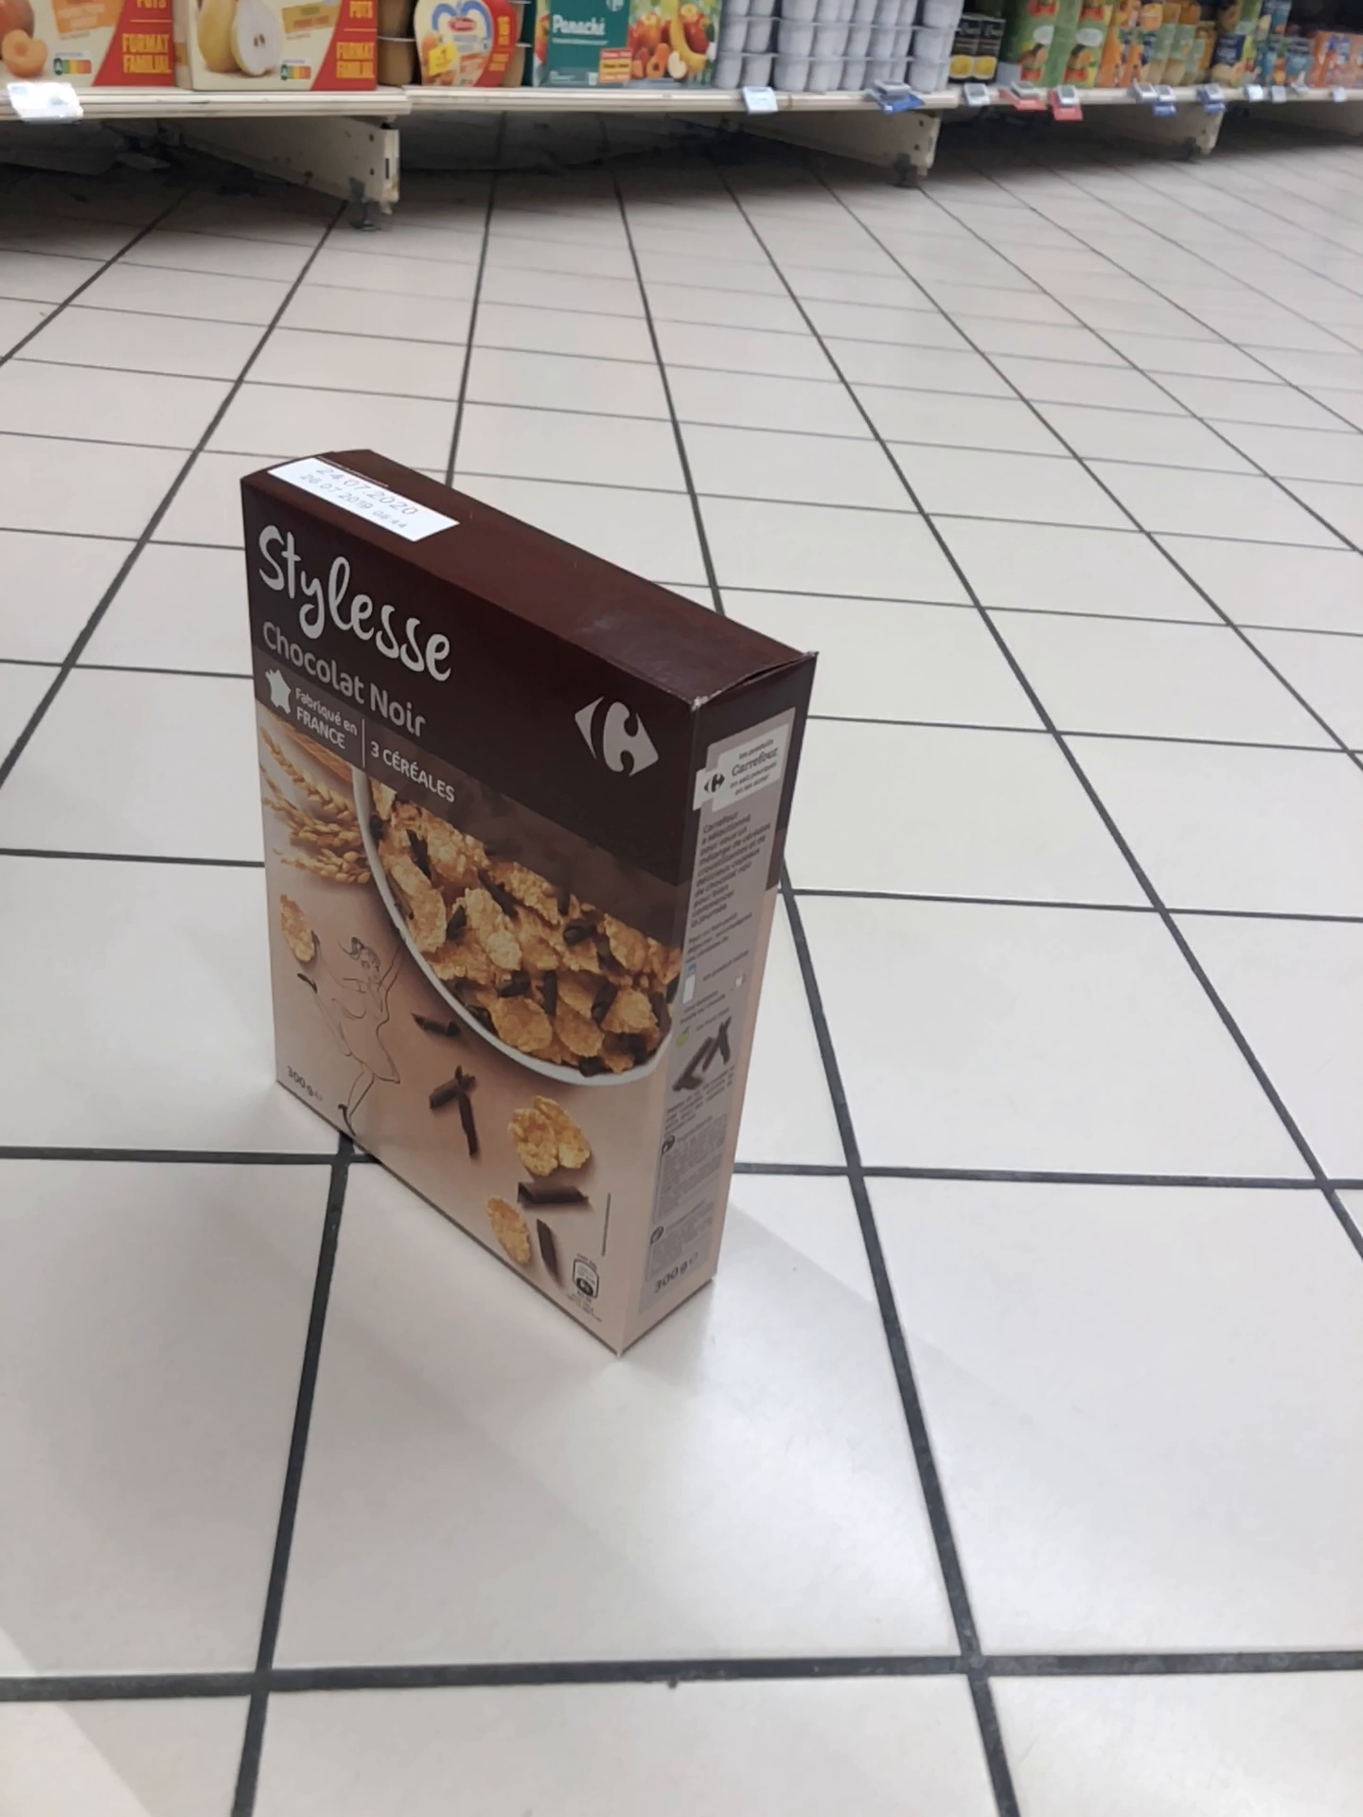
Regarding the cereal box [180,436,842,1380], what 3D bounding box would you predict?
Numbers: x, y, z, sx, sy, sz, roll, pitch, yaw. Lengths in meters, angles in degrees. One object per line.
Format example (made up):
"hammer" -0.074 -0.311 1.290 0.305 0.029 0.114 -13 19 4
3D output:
"cereal box" -0.067 -0.003 0.492 0.200 0.238 0.070 30 40 30
